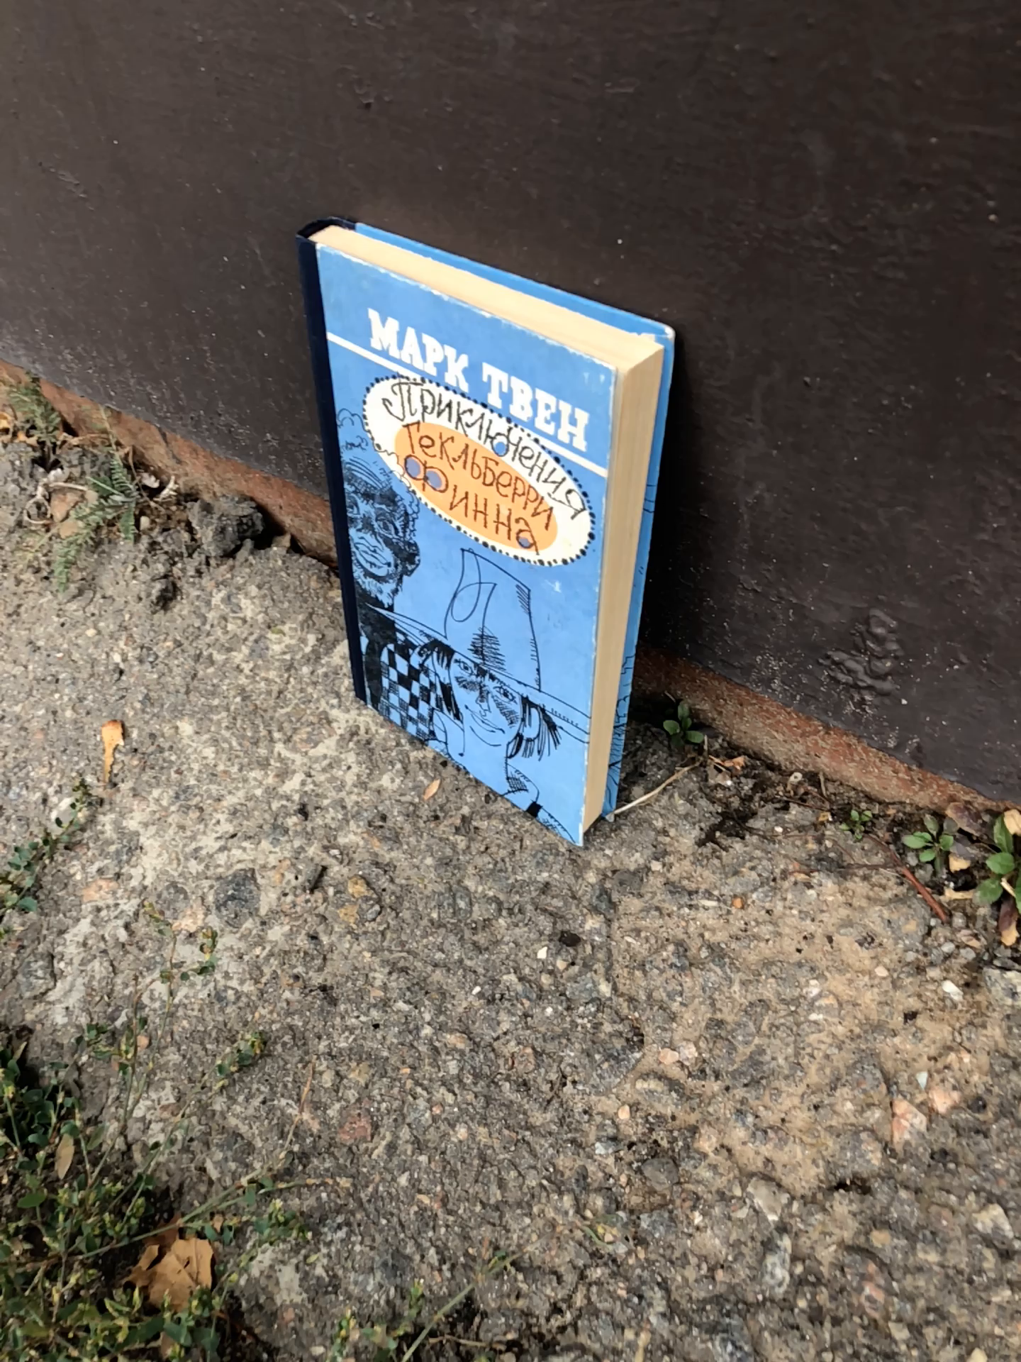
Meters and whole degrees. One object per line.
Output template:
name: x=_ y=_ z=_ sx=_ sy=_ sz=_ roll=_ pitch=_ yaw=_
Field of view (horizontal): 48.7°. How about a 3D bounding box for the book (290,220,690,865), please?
book: x=-0.011 y=-0.042 z=0.382 sx=0.130 sy=0.186 sz=0.030 roll=32 pitch=49 yaw=32
